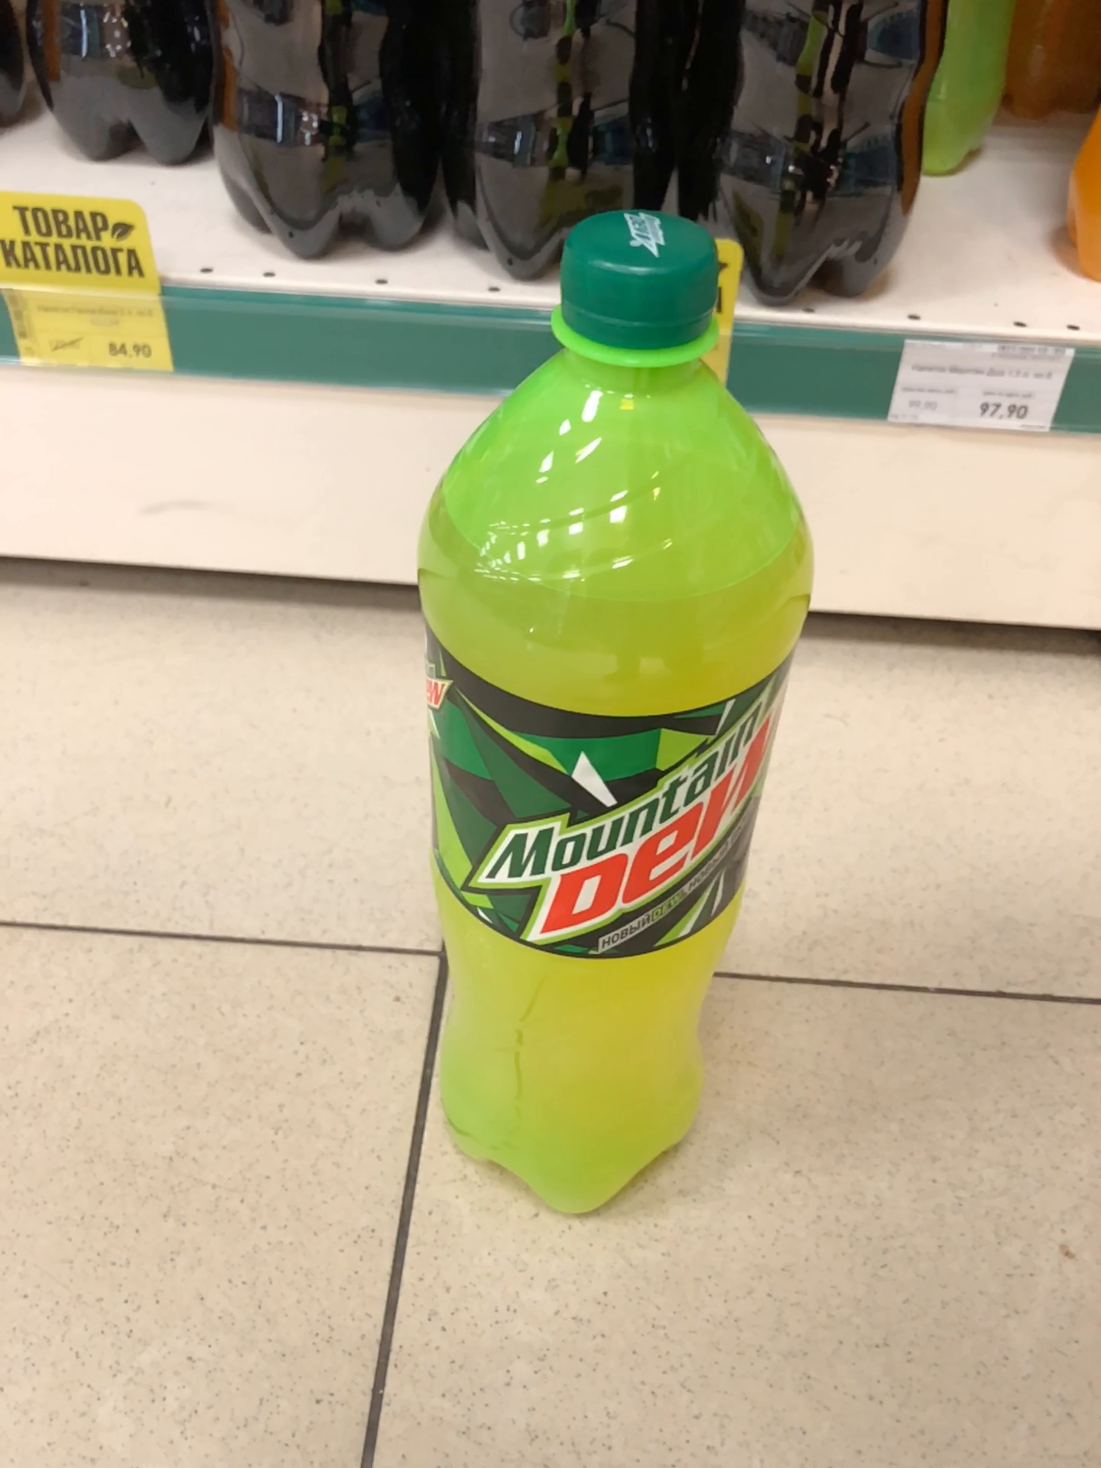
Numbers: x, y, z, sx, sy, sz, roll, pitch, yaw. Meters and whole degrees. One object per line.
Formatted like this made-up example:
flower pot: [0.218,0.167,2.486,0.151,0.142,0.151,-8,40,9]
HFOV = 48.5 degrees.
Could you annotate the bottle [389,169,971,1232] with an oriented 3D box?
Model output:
bottle: [0.013,0.017,0.334,0.095,0.294,0.101,1,43,-1]
